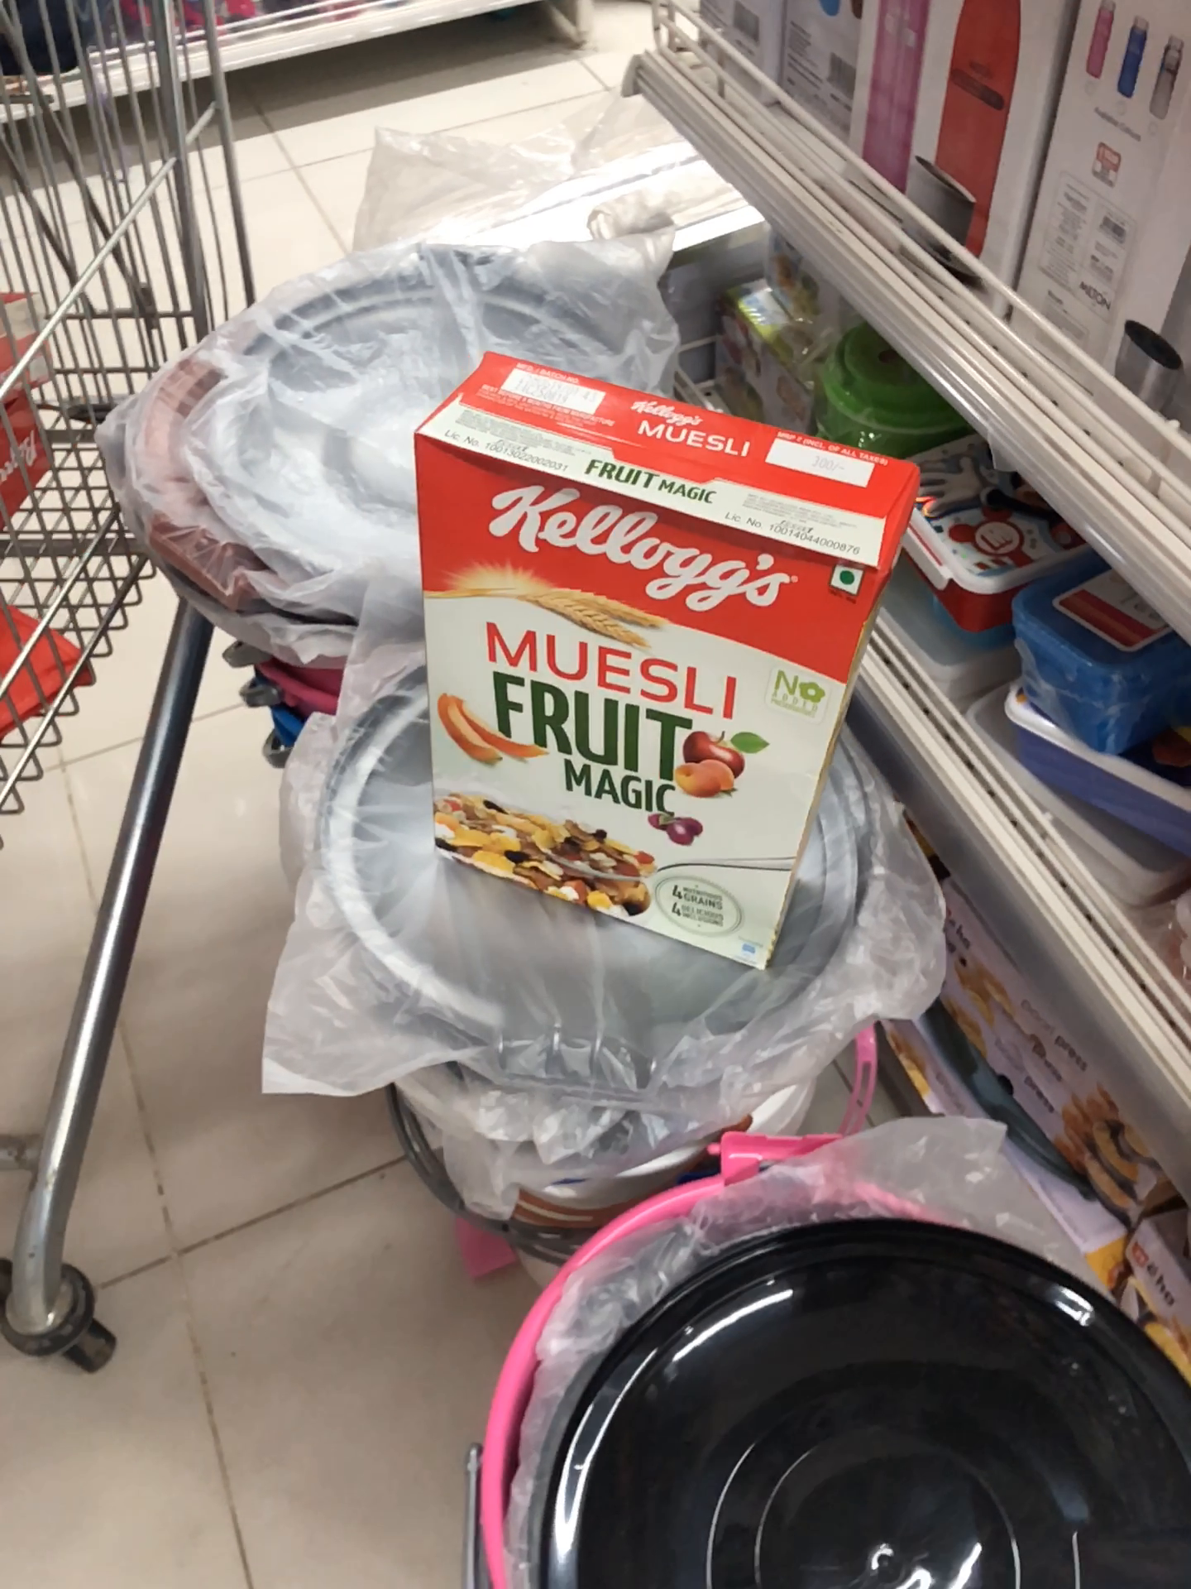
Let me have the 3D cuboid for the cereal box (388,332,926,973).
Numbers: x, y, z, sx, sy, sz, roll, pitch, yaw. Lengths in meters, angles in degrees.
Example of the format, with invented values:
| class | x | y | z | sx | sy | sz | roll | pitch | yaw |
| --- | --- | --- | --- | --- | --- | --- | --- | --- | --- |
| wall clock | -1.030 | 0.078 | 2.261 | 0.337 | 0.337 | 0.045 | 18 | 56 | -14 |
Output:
| class | x | y | z | sx | sy | sz | roll | pitch | yaw |
| --- | --- | --- | --- | --- | --- | --- | --- | --- | --- |
| cereal box | 0.016 | -0.051 | 0.587 | 0.190 | 0.249 | 0.070 | 19 | 49 | 13 |
